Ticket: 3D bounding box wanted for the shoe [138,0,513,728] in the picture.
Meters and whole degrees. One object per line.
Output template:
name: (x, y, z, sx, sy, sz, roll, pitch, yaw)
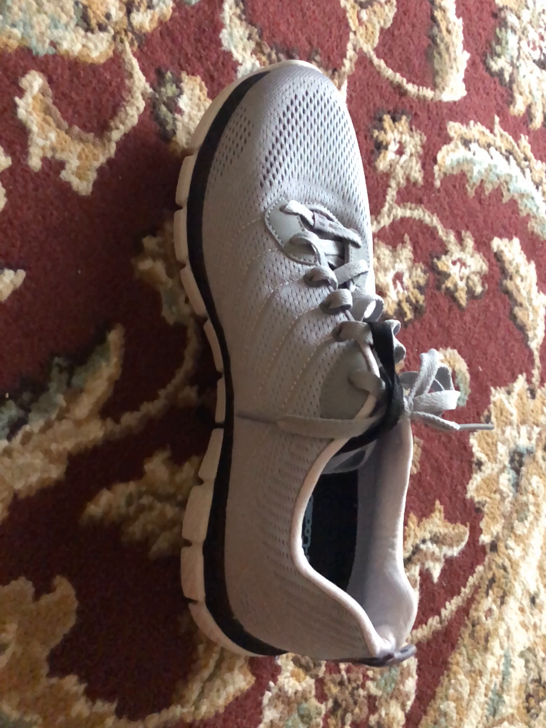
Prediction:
shoe: (0.020, -0.013, 0.281, 0.100, 0.129, 0.300, 8, 79, -33)
